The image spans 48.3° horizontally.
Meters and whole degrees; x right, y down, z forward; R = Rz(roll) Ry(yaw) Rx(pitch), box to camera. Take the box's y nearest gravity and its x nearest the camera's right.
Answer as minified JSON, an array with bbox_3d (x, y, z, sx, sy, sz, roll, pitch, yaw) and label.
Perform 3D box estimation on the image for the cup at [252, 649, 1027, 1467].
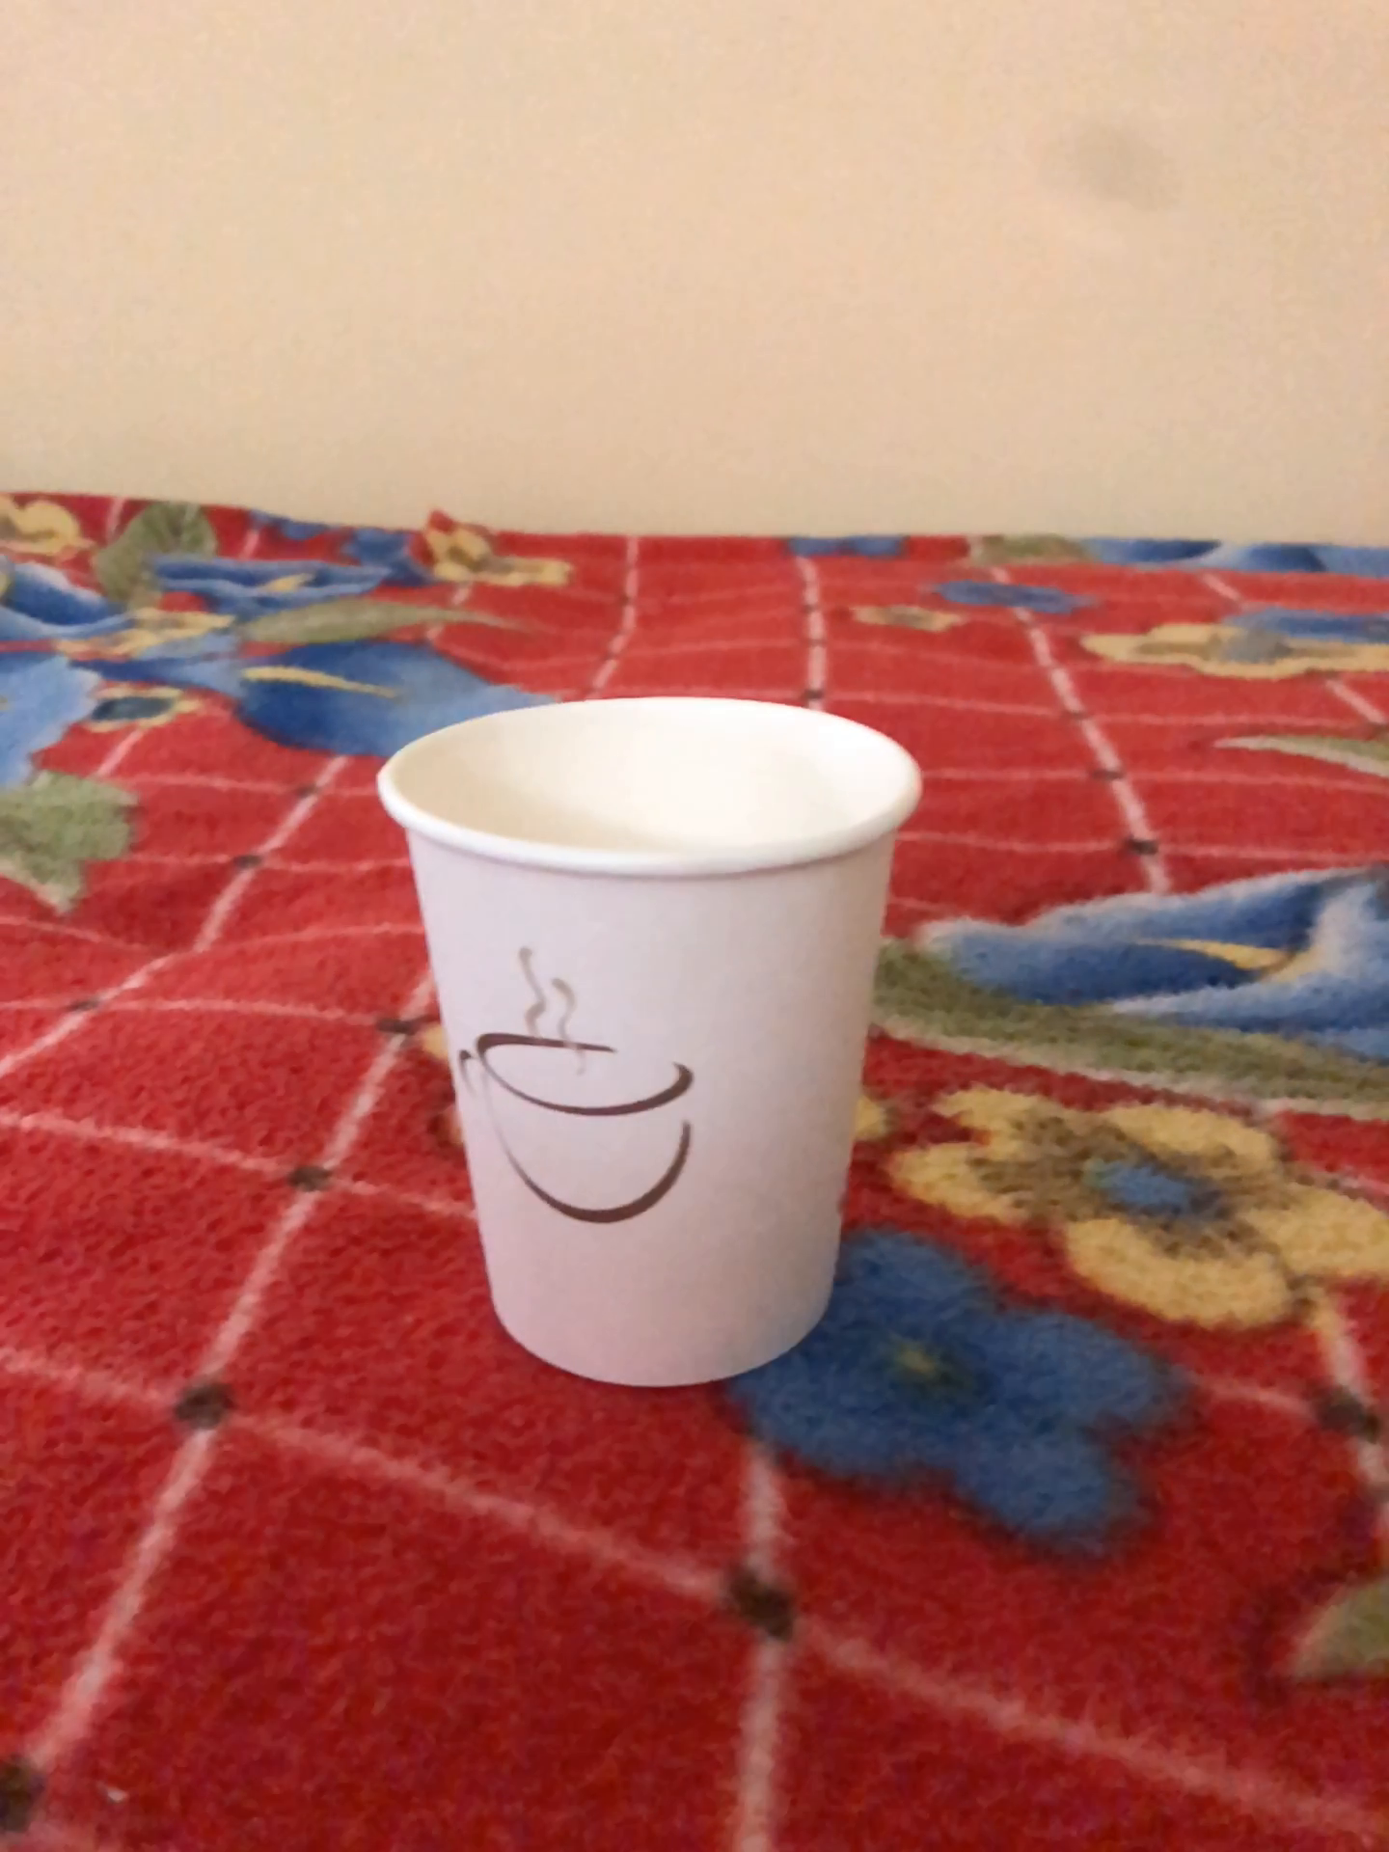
[{"bbox_3d":[-0.004,0.013,0.256,0.090,0.090,0.080,12,29,26],"label":"cup"}]
